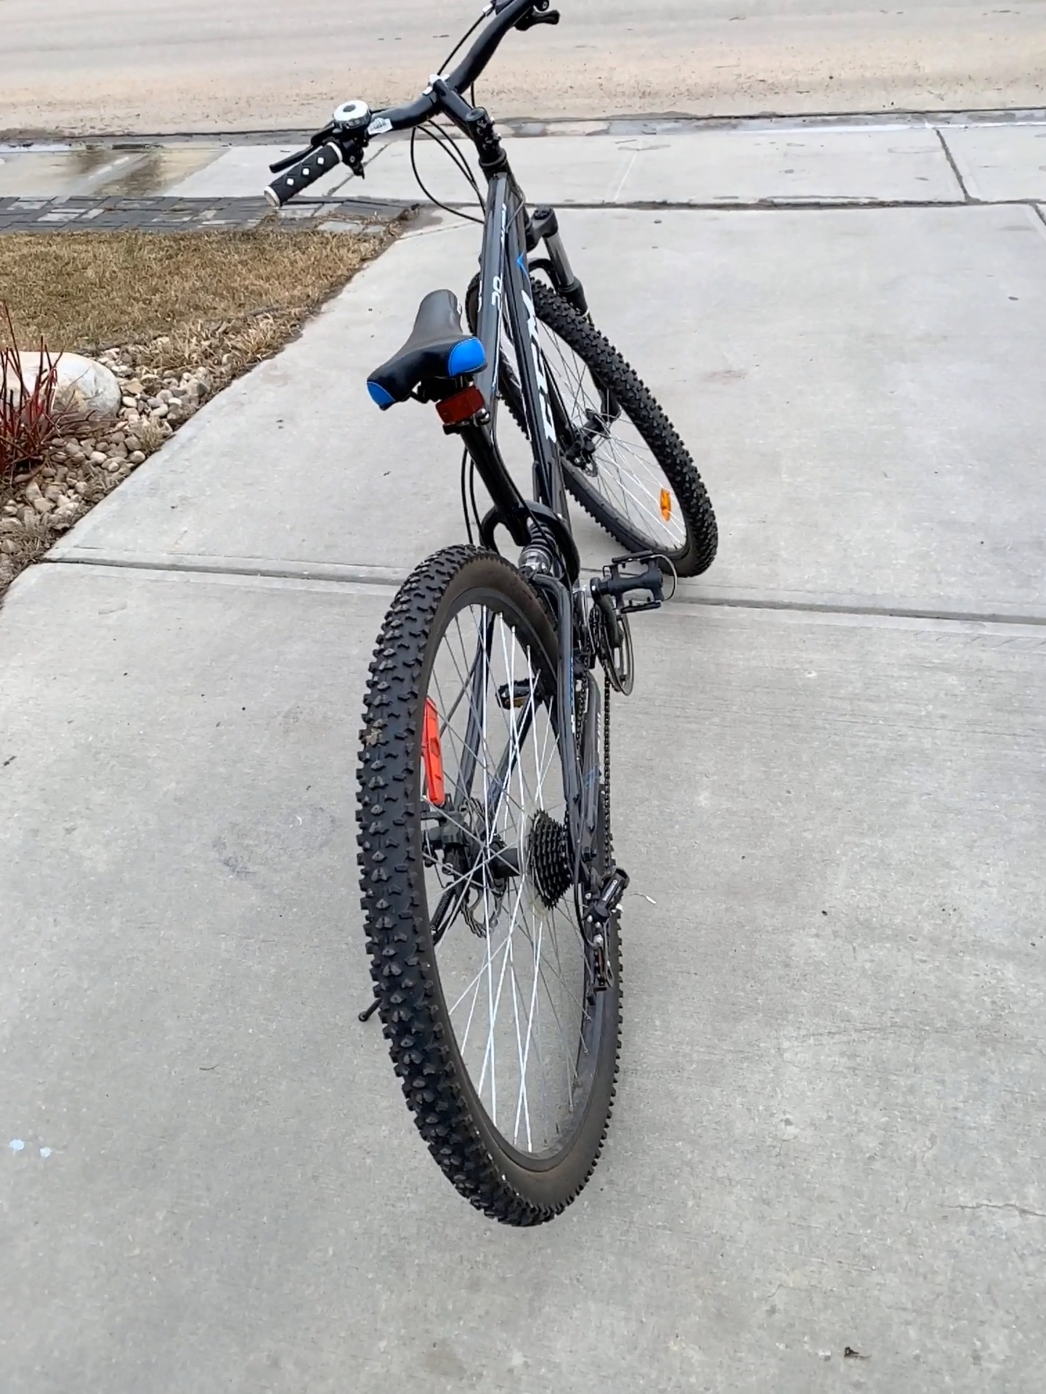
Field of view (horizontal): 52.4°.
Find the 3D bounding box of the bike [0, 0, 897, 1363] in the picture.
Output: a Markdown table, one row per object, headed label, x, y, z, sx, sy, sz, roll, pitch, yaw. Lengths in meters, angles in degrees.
| label | x | y | z | sx | sy | sz | roll | pitch | yaw |
| --- | --- | --- | --- | --- | --- | --- | --- | --- | --- |
| bike | -0.146 | -0.288 | 1.515 | 0.627 | 1.173 | 1.800 | -4 | 41 | 2 |
